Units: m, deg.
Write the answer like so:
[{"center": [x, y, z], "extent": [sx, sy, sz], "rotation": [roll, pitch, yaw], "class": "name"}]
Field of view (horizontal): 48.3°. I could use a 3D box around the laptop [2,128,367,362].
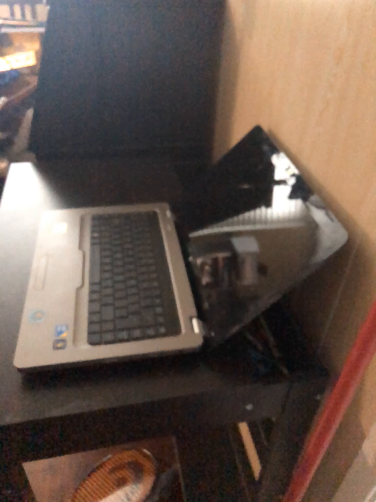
[{"center": [-0.026, -0.046, 0.664], "extent": [0.418, 0.154, 0.365], "rotation": [-5, 37, -8], "class": "laptop"}]
